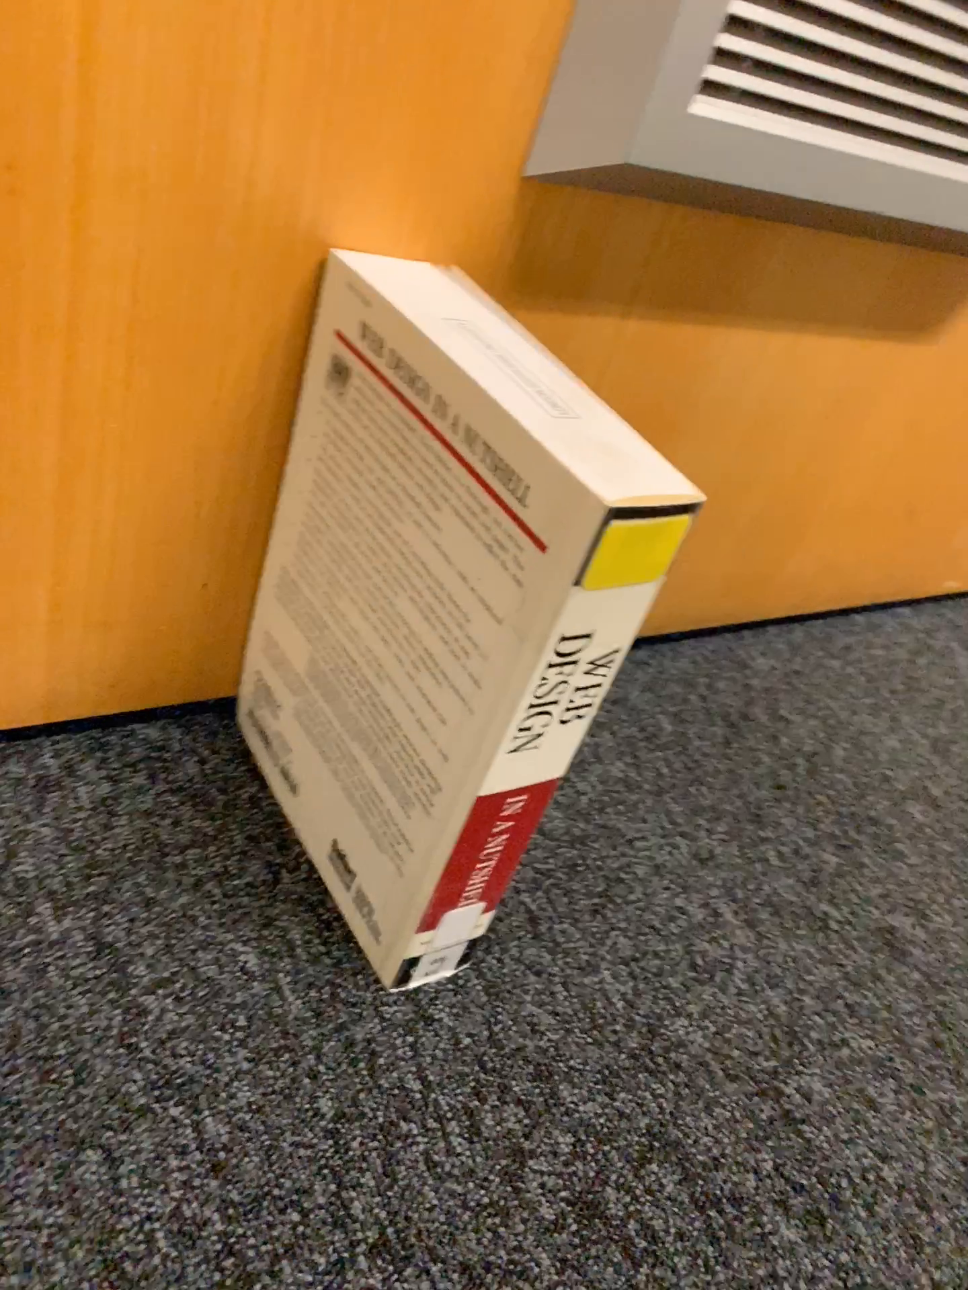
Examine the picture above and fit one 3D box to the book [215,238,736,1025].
[{"bbox_3d":[-0.029,-0.001,0.375,0.050,0.228,0.171,-10,46,-36],"label":"book"}]
